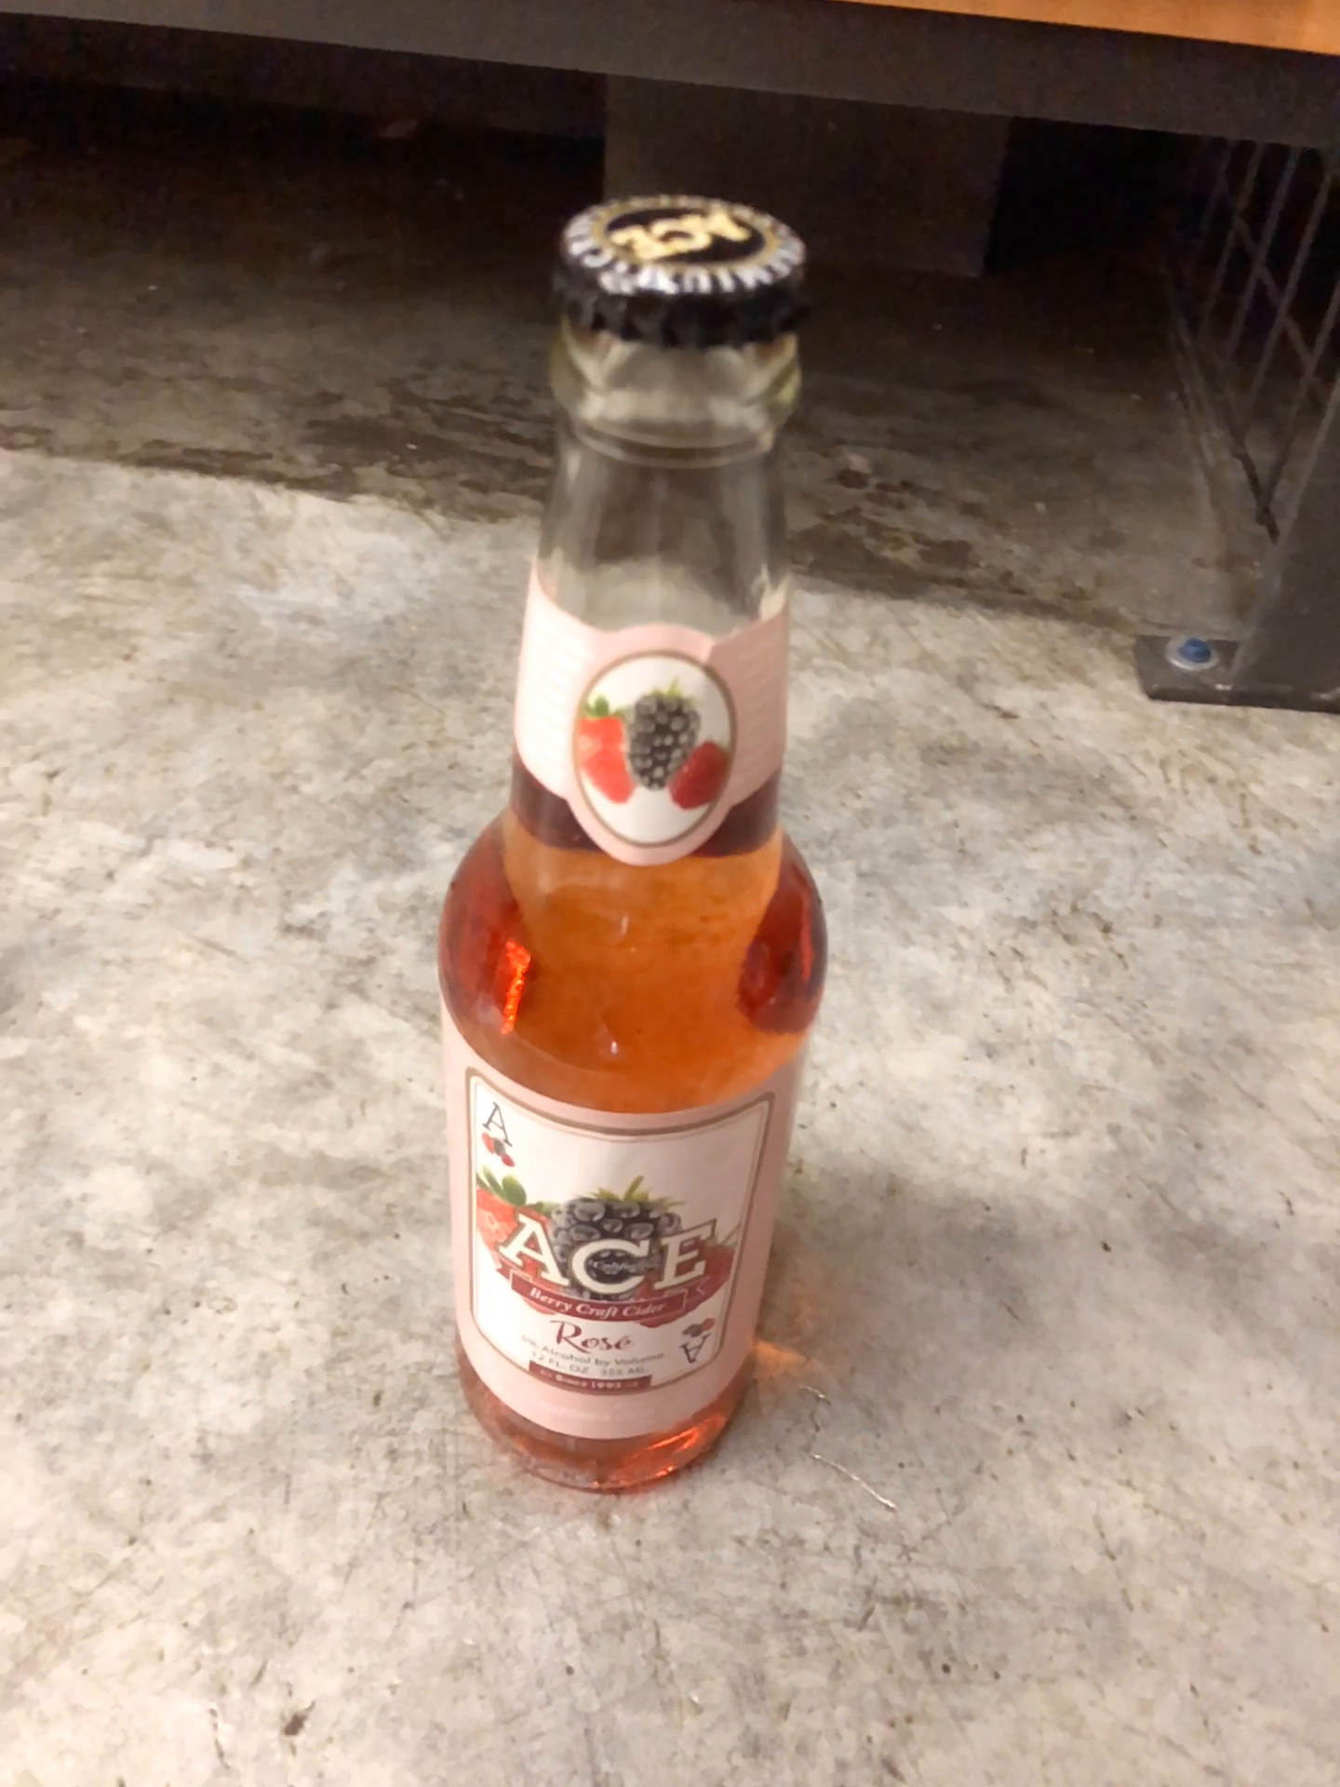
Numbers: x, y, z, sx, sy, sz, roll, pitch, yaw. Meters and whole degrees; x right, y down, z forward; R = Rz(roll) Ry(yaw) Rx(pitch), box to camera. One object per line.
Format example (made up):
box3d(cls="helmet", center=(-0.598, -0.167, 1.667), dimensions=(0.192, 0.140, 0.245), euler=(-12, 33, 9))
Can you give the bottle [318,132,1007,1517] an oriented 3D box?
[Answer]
box3d(cls="bottle", center=(-0.005, 0.014, 0.229), dimensions=(0.061, 0.221, 0.060), euler=(3, 43, -2))
